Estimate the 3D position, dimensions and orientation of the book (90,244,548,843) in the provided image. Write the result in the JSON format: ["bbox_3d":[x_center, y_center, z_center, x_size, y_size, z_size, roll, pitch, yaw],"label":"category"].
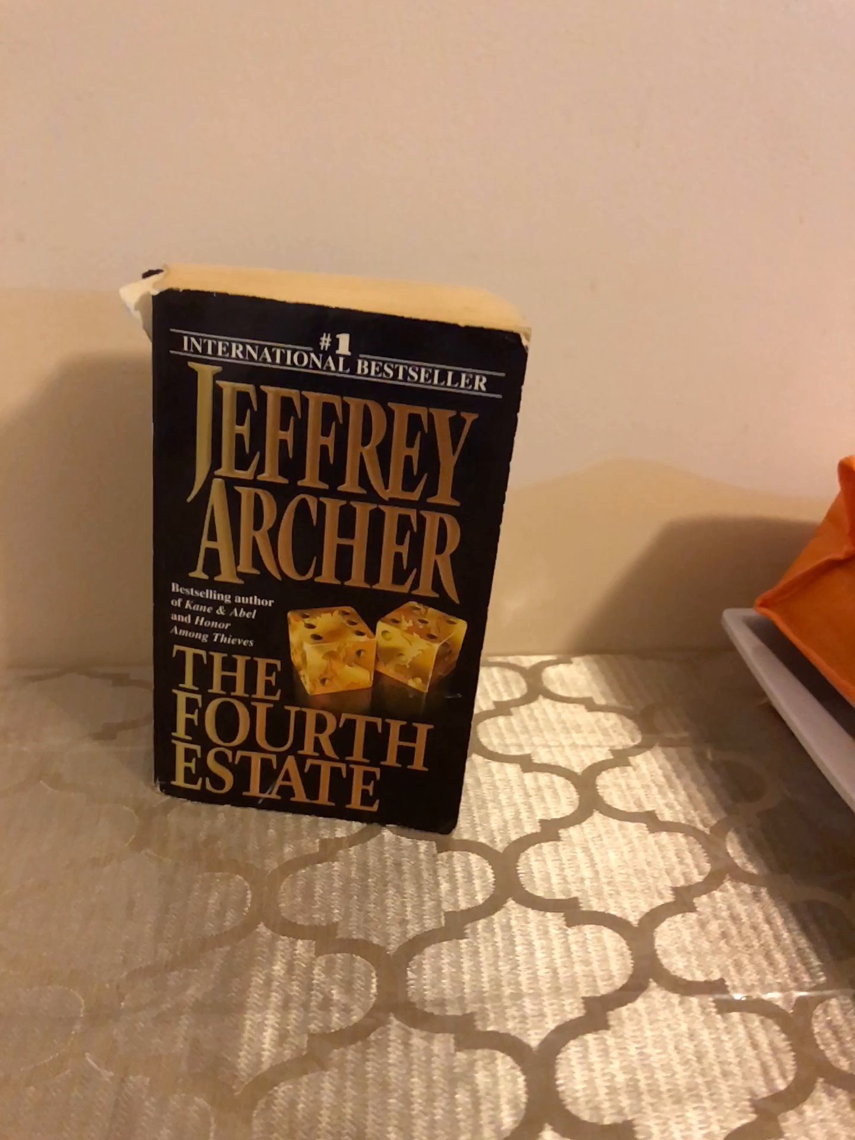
[{"bbox_3d":[-0.034,-0.008,0.307,0.120,0.169,0.060,7,22,2],"label":"book"}]
